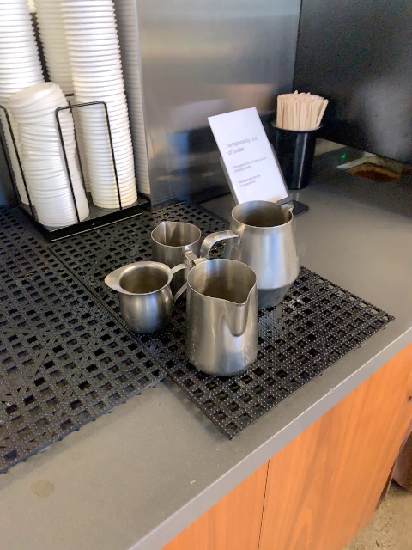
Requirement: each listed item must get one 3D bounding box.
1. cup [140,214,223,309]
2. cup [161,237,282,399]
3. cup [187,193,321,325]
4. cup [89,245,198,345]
[{"bbox_3d":[-0.034,-0.022,0.578,0.070,0.070,0.111,-16,37,-22],"label":"cup"},{"bbox_3d":[0.013,0.044,0.486,0.080,0.119,0.121,-17,37,-23],"label":"cup"},{"bbox_3d":[0.060,-0.026,0.579,0.140,0.119,0.101,-14,36,-20],"label":"cup"},{"bbox_3d":[-0.074,0.021,0.514,0.110,0.070,0.070,-14,36,-19],"label":"cup"}]
